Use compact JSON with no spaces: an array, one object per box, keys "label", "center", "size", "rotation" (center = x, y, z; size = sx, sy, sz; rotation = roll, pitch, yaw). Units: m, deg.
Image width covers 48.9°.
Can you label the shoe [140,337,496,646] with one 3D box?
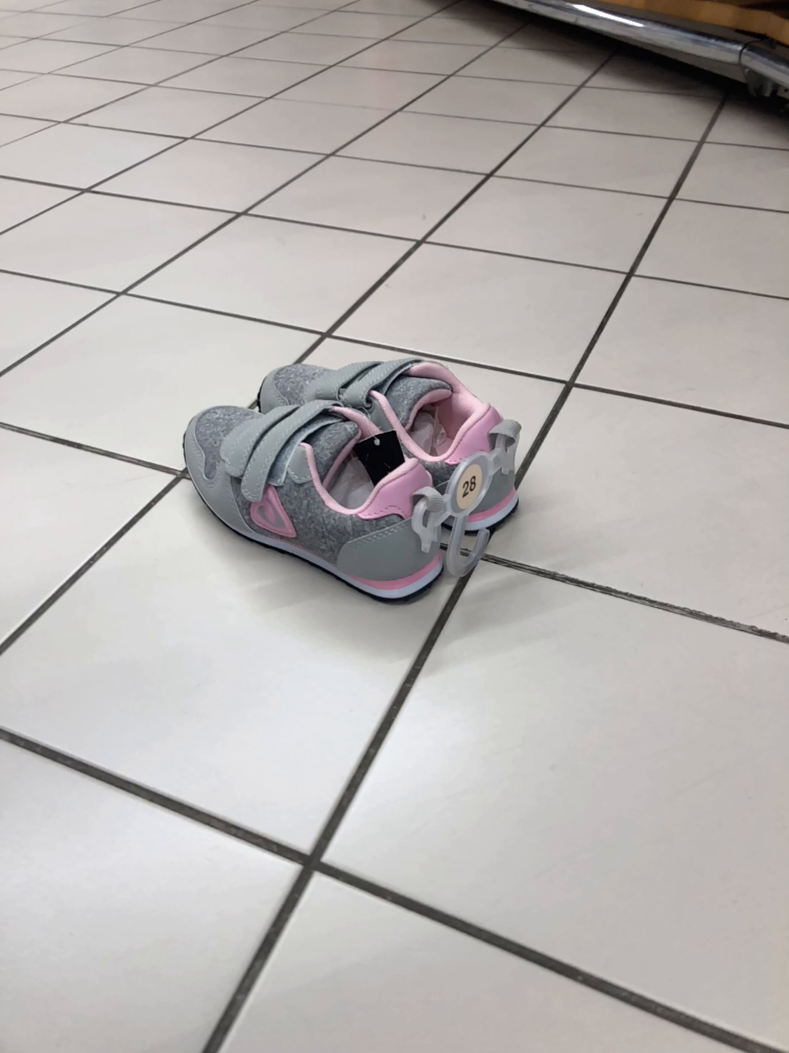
[{"label":"shoe","center":[-0.044,-0.027,0.477],"size":[0.180,0.080,0.080],"rotation":[28,48,30]}]

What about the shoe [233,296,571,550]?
[{"label":"shoe","center":[0.002,-0.068,0.516],"size":[0.180,0.070,0.080],"rotation":[25,46,28]}]
